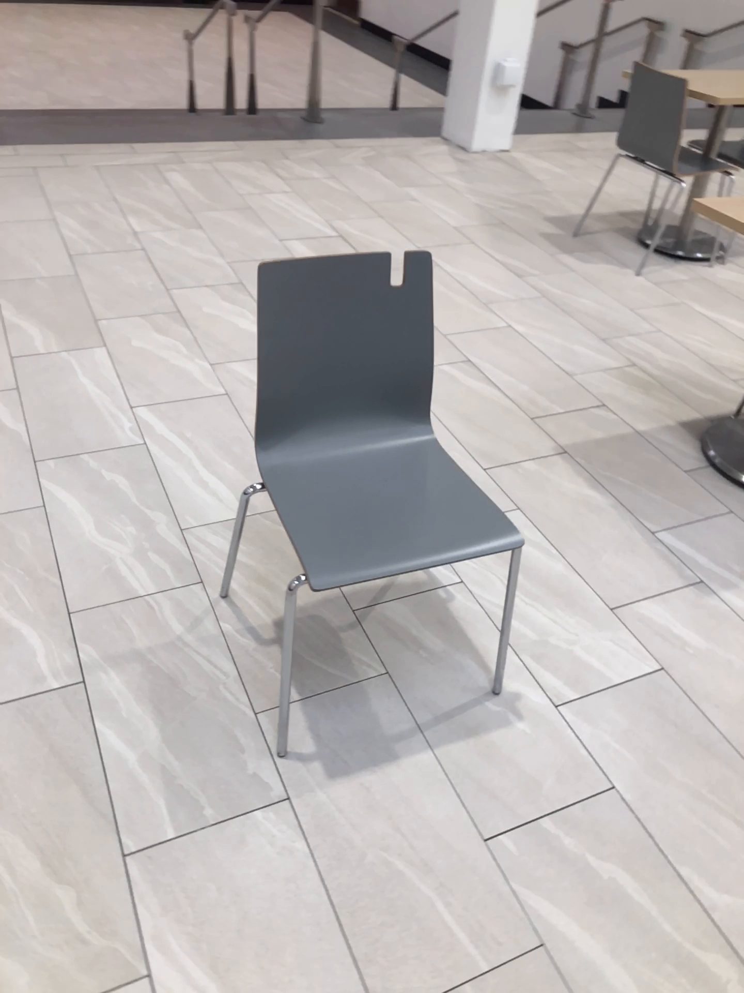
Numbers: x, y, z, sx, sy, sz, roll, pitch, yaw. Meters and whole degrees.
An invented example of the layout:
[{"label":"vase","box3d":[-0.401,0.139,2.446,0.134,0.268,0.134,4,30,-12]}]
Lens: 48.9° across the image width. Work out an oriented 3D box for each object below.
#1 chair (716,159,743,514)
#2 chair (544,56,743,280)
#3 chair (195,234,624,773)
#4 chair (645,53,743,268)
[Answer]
[{"label":"chair","box3d":[1.458,-0.441,2.251,0.536,0.777,0.516,-5,39,-16]},{"label":"chair","box3d":[1.189,-1.389,3.431,0.536,0.707,0.576,-15,42,-26]},{"label":"chair","box3d":[-0.002,0.000,1.541,0.525,0.787,0.517,-10,40,-21]},{"label":"chair","box3d":[1.693,-1.496,3.642,0.486,0.737,0.556,-10,40,-21]}]
